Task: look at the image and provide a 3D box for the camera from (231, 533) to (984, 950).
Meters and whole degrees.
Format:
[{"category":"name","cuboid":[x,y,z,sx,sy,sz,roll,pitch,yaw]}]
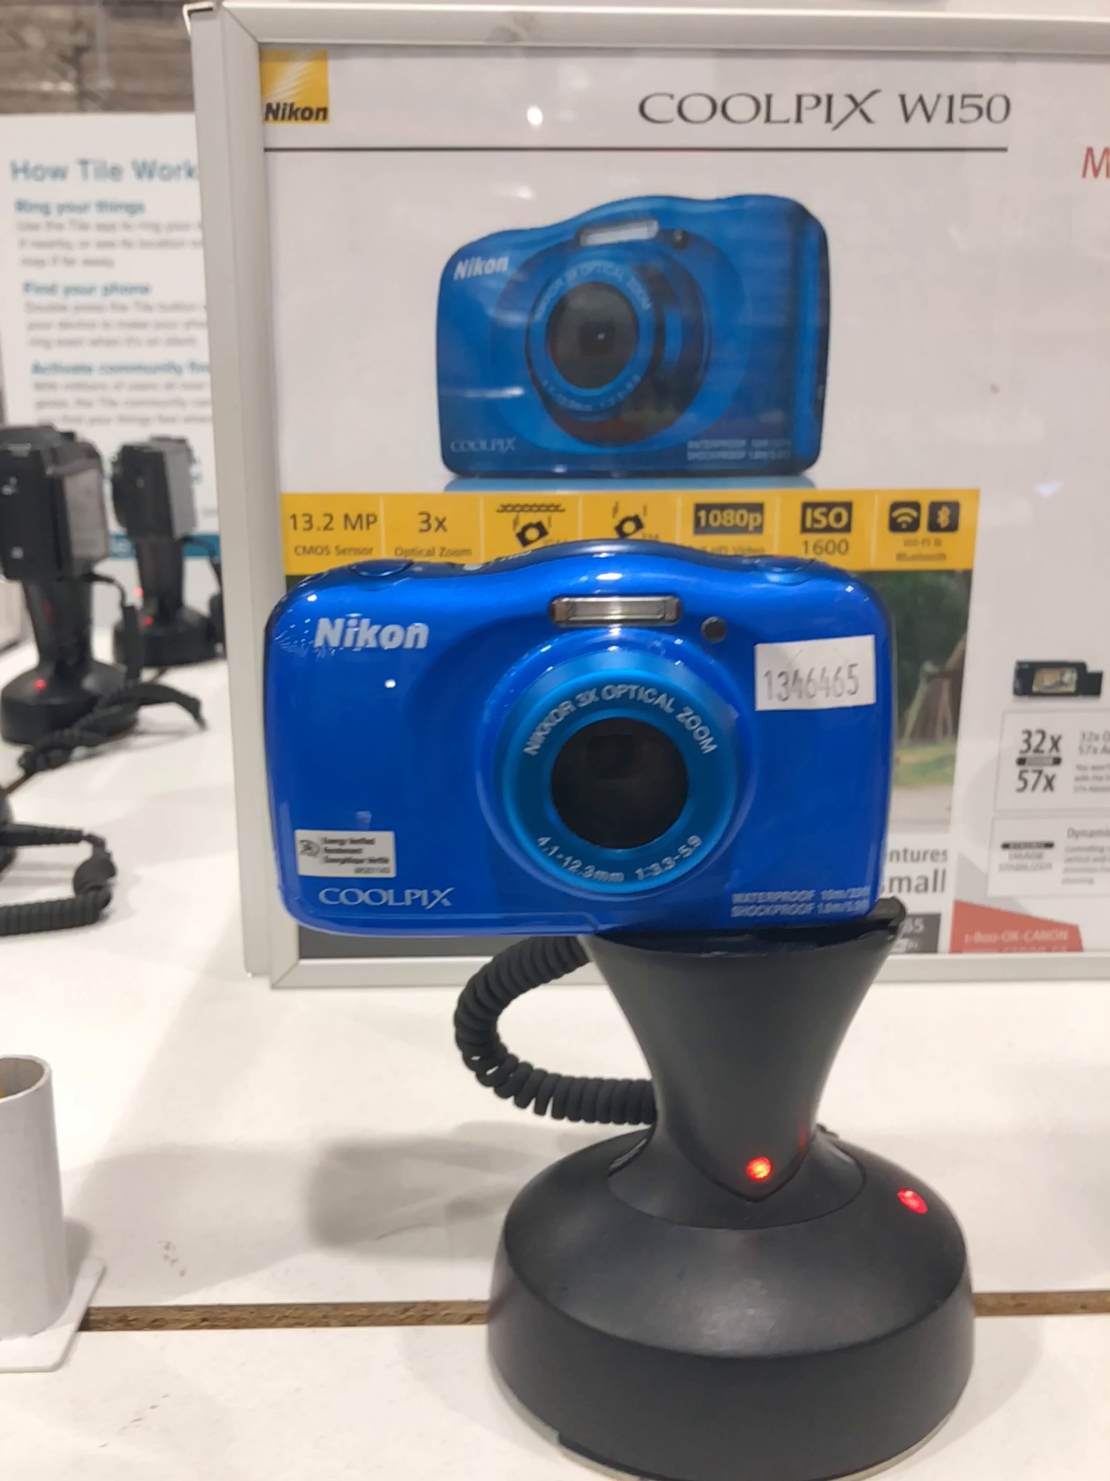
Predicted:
[{"category":"camera","cuboid":[0.007,-0.002,0.207,0.110,0.060,0.040,-1,14,-4]}]
